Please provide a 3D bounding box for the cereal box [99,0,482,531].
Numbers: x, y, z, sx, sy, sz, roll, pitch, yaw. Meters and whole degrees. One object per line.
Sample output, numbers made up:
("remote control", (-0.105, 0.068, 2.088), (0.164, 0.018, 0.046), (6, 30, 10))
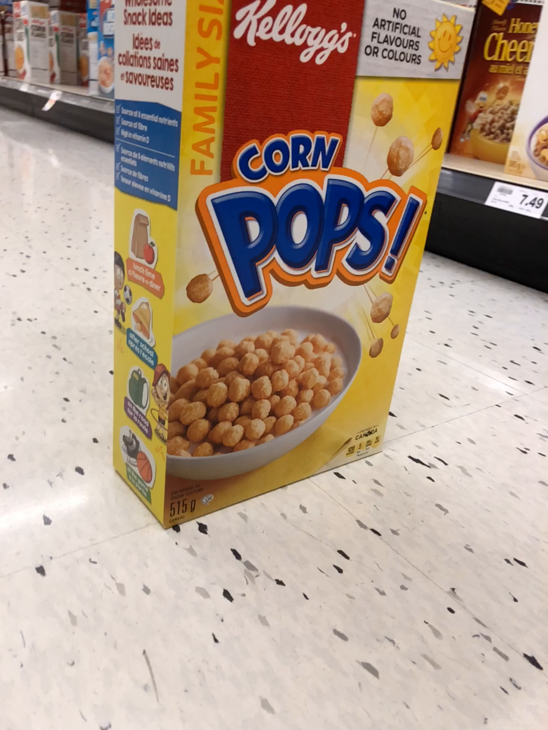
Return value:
("cereal box", (-0.001, -0.077, 0.406), (0.200, 0.318, 0.100), (-11, 30, -36))
